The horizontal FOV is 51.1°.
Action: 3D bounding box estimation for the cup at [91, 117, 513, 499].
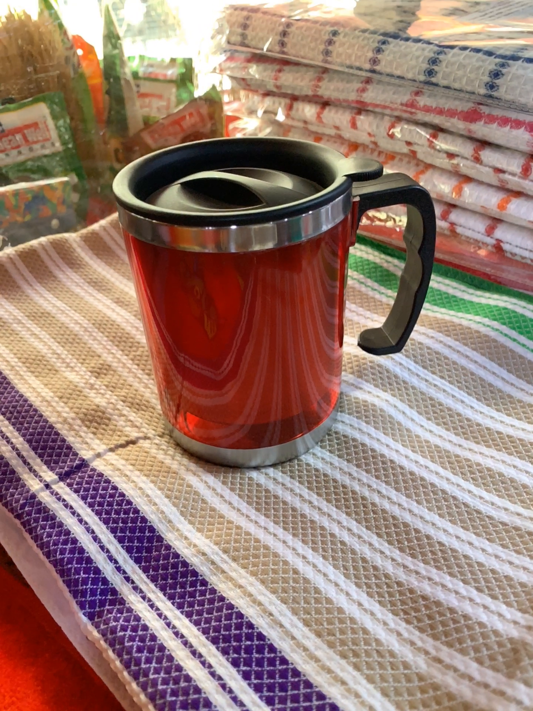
[{"bbox_3d":[0.006,-0.028,0.235,0.129,0.102,0.100,-12,35,-12],"label":"cup"}]
